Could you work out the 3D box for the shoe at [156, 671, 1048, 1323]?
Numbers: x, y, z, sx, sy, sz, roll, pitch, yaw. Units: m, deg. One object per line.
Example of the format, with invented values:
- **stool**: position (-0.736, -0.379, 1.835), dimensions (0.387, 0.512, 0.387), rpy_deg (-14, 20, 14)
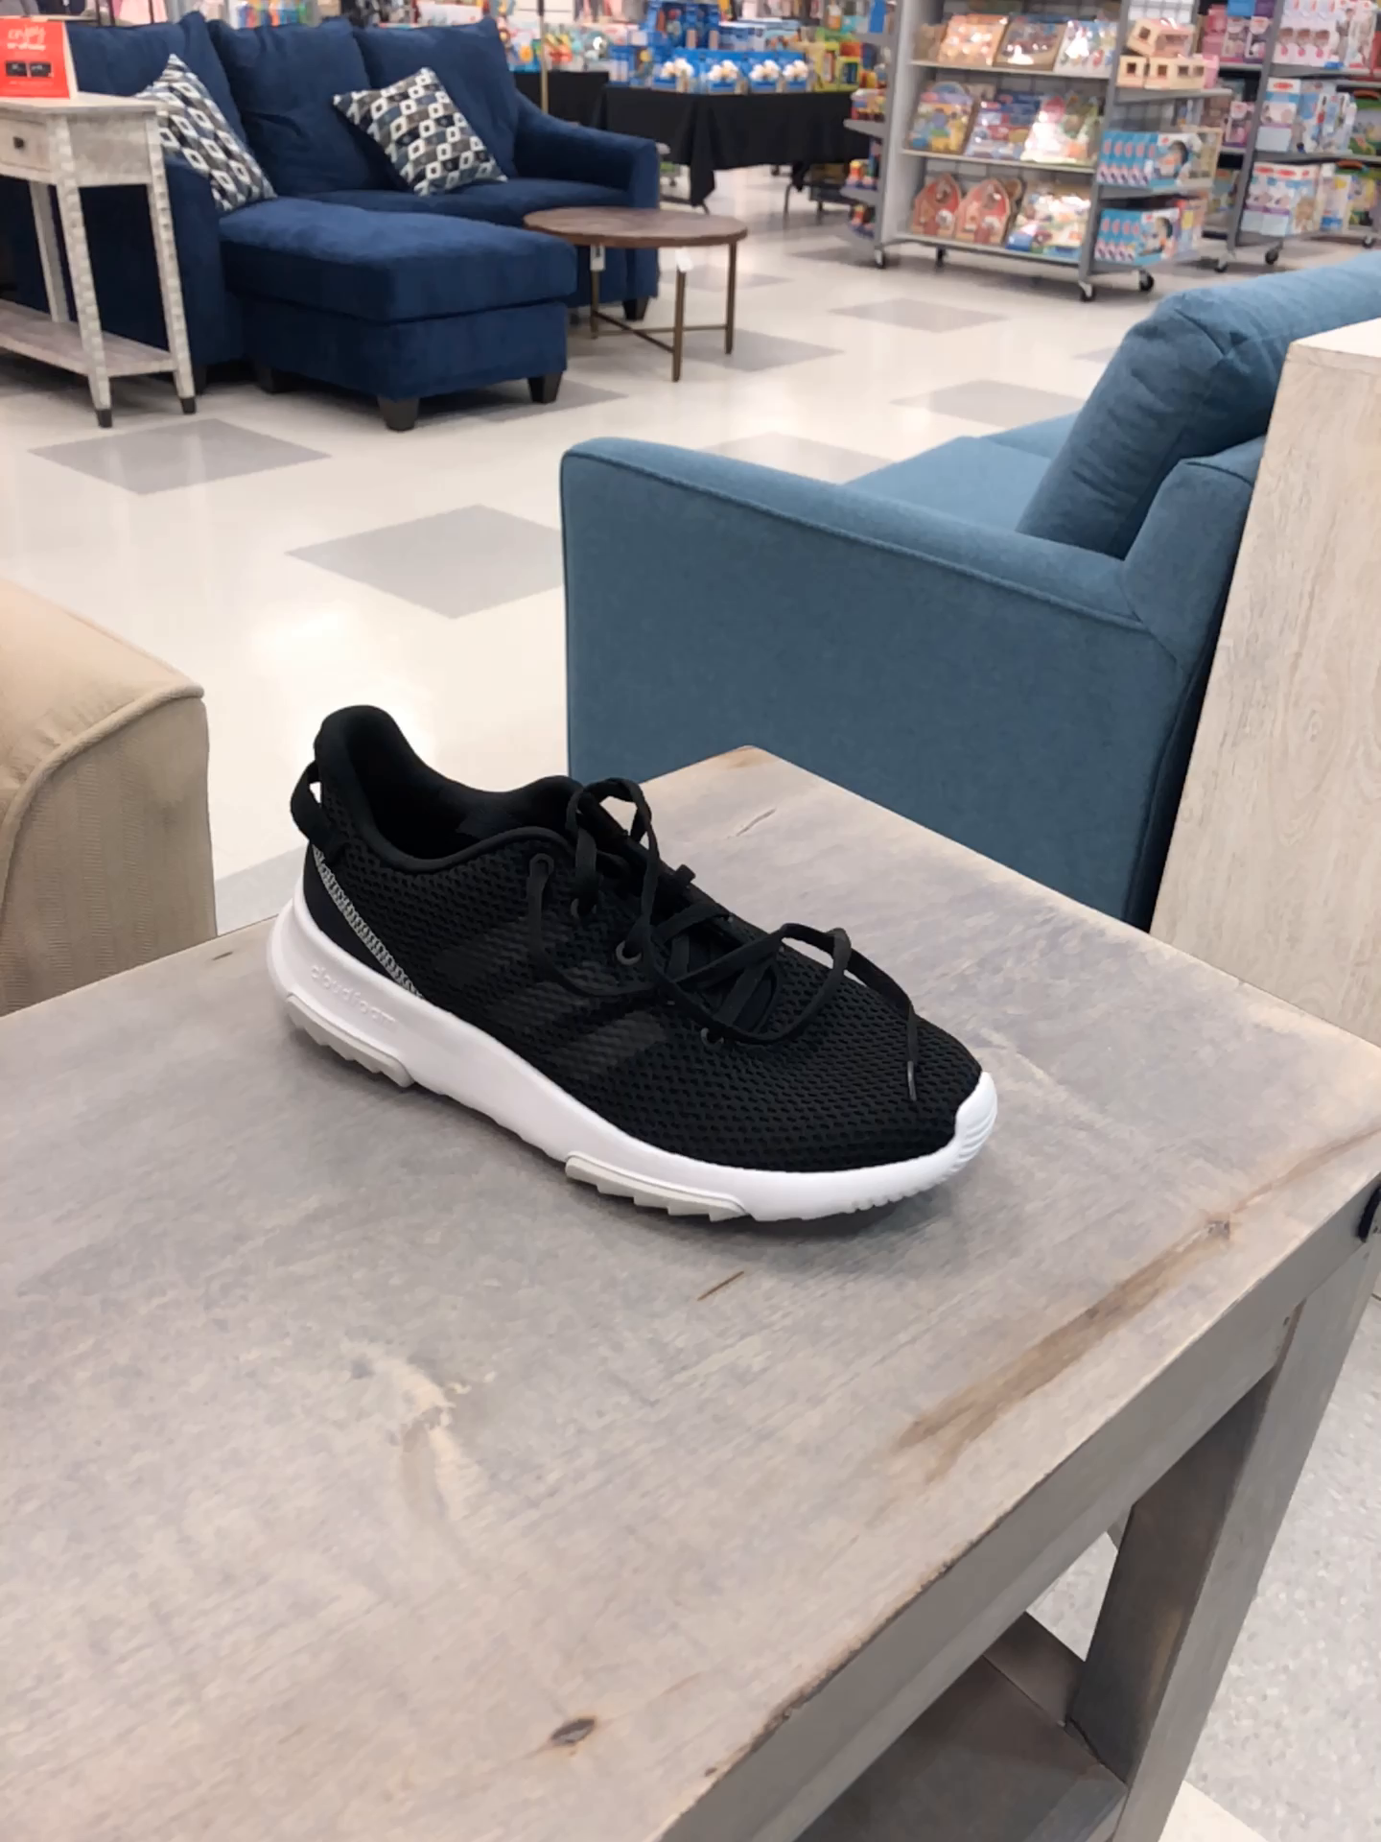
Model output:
- **shoe**: position (-0.036, 0.011, 0.544), dimensions (0.283, 0.109, 0.120), rpy_deg (18, 34, 24)
